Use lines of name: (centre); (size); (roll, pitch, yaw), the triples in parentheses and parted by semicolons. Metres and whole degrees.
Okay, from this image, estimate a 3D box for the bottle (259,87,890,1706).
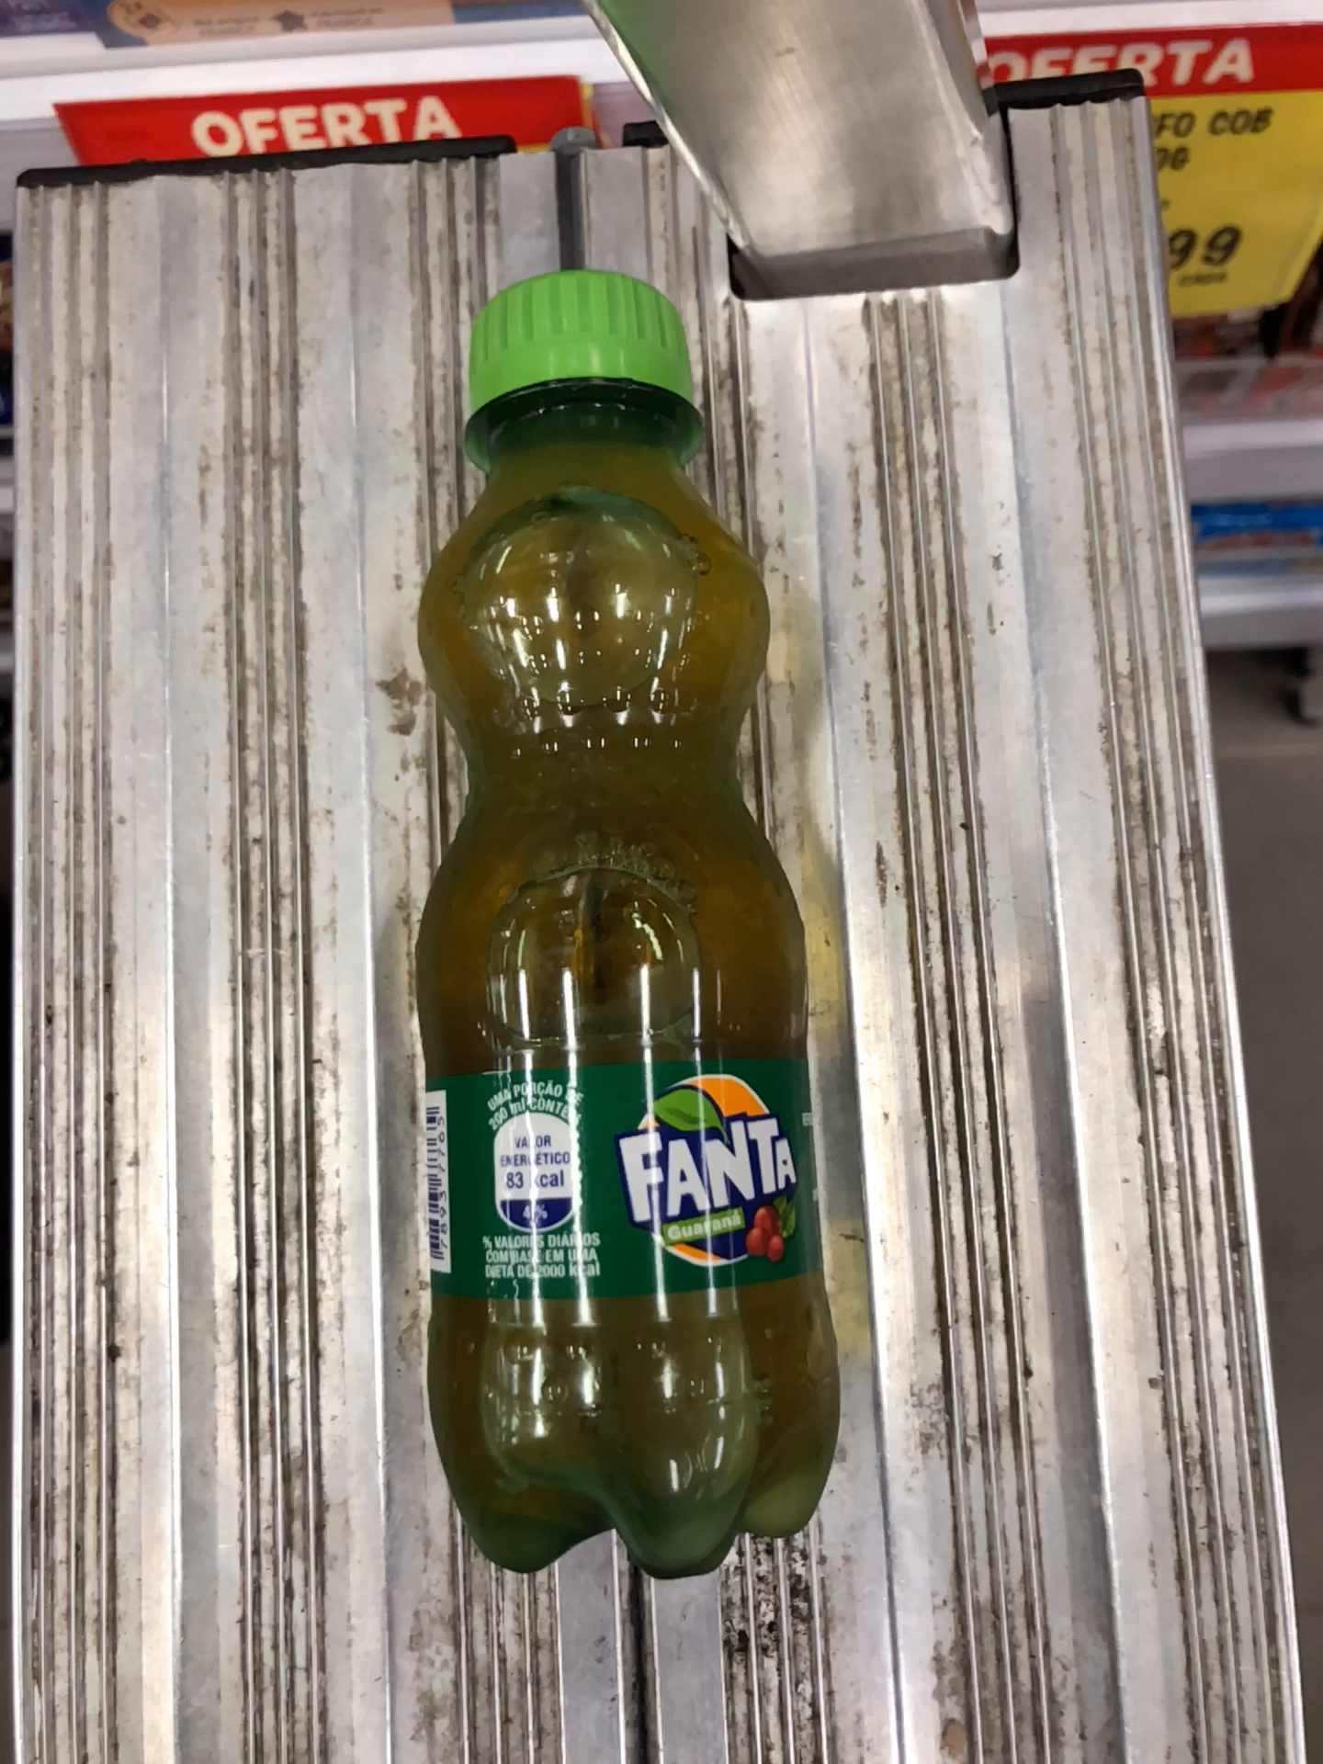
bottle: (-0.014, -0.001, 0.188); (0.050, 0.050, 0.170); (-14, 76, 47)
